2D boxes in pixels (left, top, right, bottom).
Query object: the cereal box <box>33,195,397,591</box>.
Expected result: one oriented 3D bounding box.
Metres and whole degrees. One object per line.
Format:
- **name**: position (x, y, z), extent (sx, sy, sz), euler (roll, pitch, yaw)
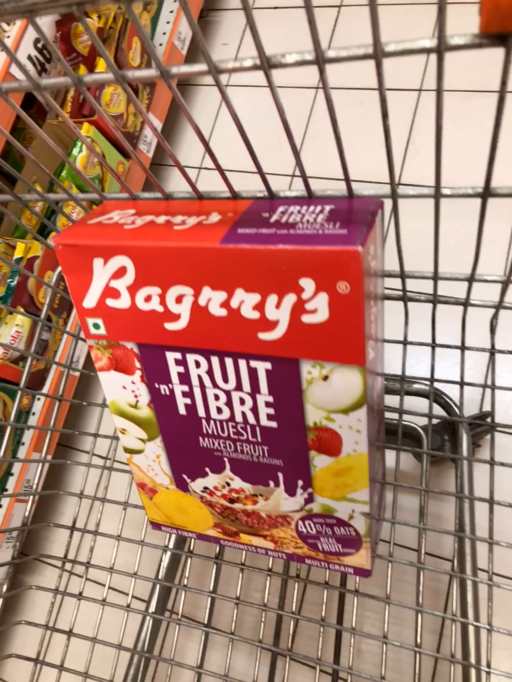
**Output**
- **cereal box**: position (-0.011, 0.037, 0.375), extent (0.190, 0.249, 0.070), euler (5, 34, 20)
